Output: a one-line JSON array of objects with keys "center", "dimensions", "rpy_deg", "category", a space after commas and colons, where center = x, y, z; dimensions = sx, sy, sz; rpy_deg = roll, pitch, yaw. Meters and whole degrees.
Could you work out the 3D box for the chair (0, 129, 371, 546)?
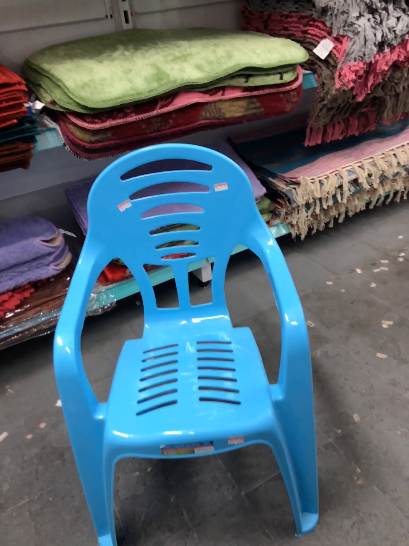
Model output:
[{"center": [-0.041, 0.112, 0.696], "dimensions": [0.400, 0.516, 0.393], "rpy_deg": [-6, 33, 0], "category": "chair"}]
